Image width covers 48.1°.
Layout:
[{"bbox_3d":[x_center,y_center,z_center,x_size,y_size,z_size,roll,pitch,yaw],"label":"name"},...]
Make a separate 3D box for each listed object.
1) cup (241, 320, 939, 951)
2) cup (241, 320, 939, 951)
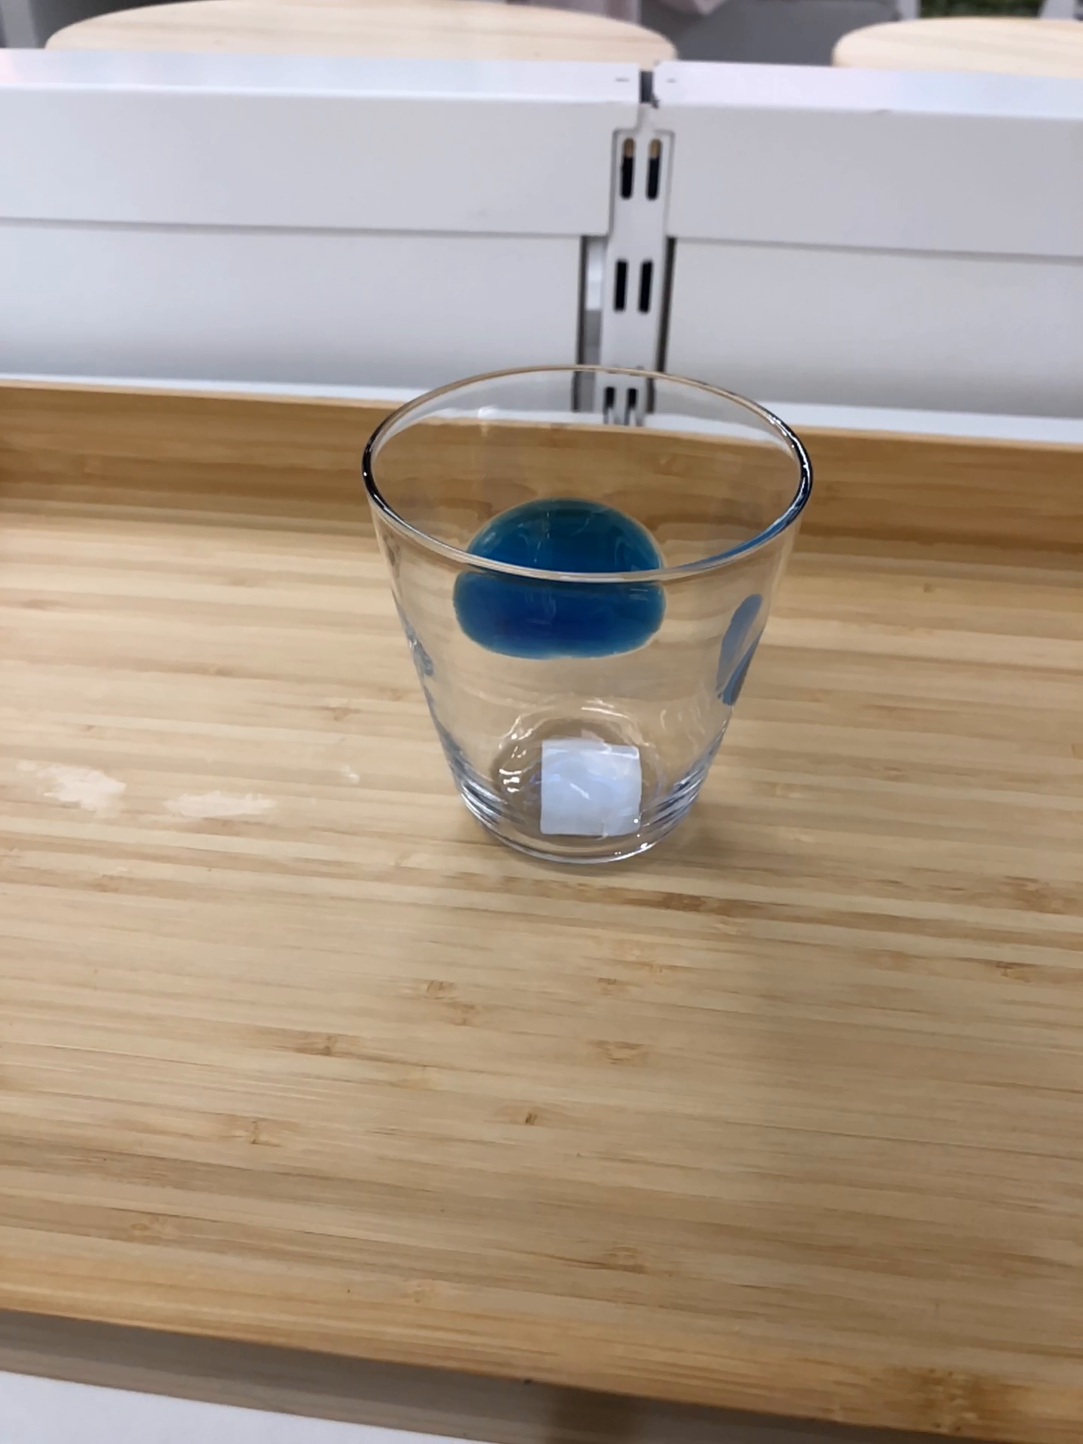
[{"bbox_3d":[0.011,-0.028,0.264,0.100,0.070,0.100,1,38,-1],"label":"cup"},{"bbox_3d":[0.011,-0.028,0.264,0.100,0.070,0.100,1,38,-1],"label":"cup"}]
